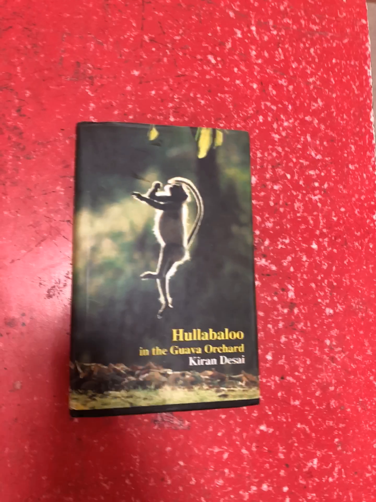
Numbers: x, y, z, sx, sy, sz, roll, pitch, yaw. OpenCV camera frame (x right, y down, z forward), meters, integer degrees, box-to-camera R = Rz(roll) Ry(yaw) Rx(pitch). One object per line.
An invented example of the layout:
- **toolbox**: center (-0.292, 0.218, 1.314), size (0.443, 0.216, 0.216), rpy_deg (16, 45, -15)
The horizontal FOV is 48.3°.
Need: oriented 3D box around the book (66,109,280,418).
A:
- **book**: center (-0.013, 0.006, 0.341), size (0.160, 0.030, 0.230), rpy_deg (0, 82, -11)
